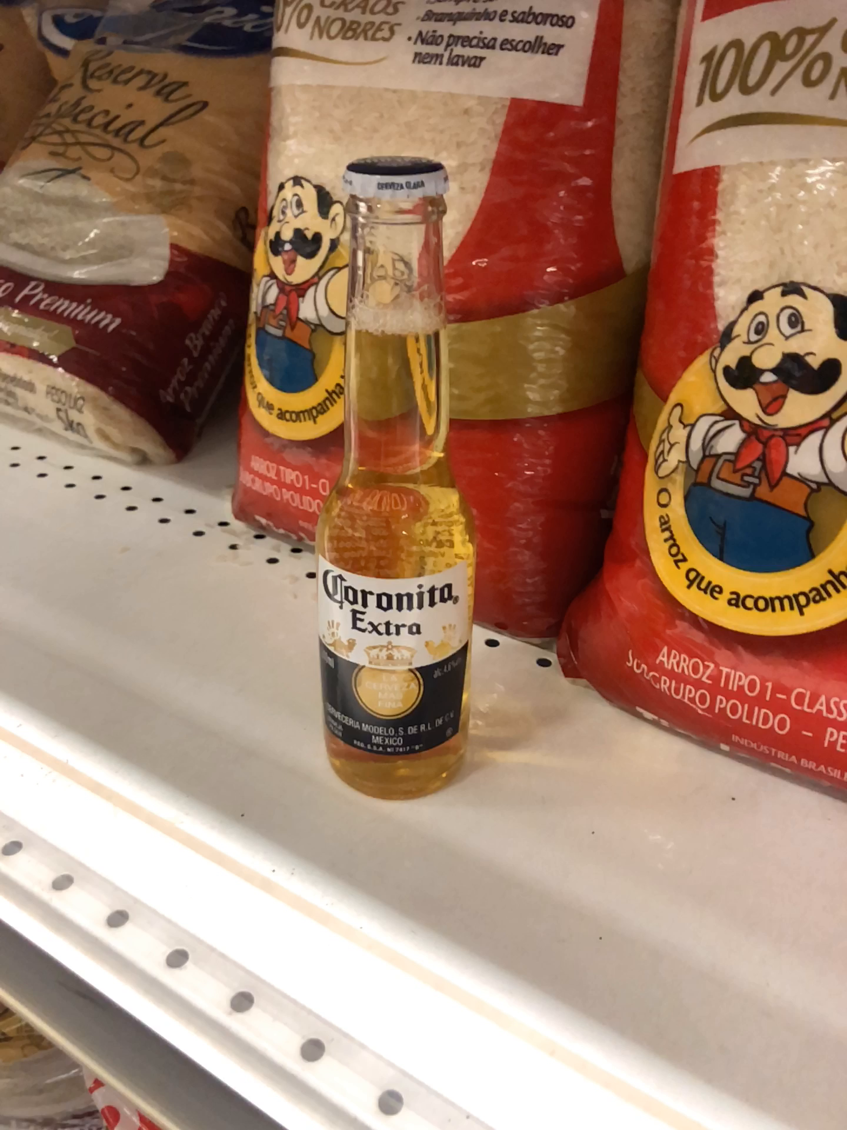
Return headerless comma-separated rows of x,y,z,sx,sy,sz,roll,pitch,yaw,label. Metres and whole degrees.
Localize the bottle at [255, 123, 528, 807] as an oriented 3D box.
-0.005,-0.022,0.290,0.060,0.198,0.060,0,31,0,bottle
